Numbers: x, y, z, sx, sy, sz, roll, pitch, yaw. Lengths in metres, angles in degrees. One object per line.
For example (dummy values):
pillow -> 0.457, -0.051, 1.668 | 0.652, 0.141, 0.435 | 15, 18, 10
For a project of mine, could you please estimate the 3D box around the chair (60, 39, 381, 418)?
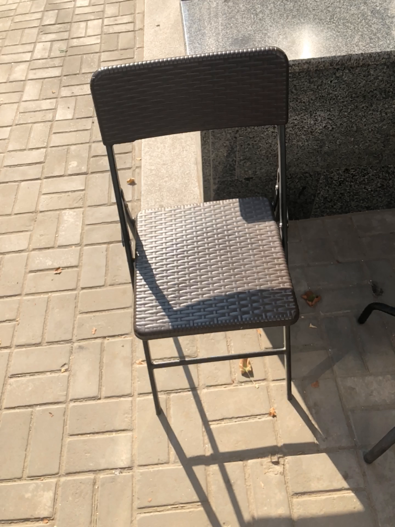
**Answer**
chair -> 0.025, -0.023, 1.058 | 0.450, 0.748, 0.512 | -6, 54, -1
